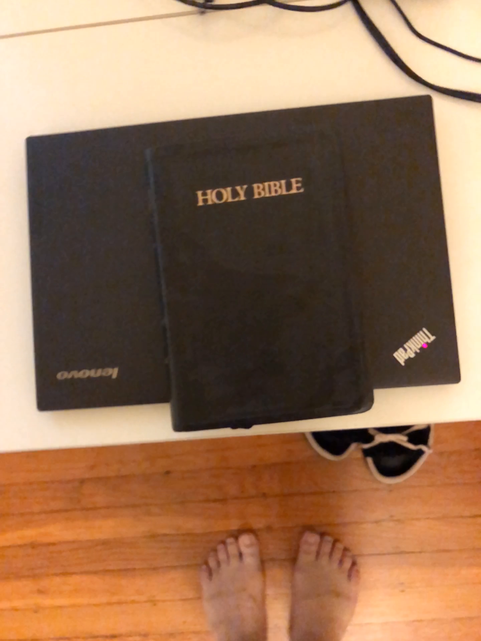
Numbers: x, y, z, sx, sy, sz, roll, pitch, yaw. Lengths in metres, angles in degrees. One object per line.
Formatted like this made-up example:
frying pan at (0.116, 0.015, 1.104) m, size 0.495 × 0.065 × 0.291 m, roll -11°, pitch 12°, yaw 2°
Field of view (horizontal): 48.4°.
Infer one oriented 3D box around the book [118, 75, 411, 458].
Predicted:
book at (0.013, -0.036, 0.377) m, size 0.170 × 0.040 × 0.240 m, roll -7°, pitch 84°, yaw 4°
